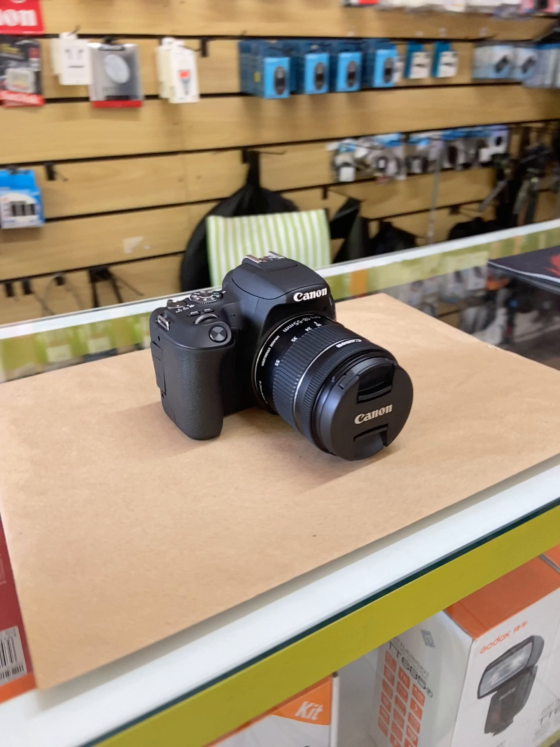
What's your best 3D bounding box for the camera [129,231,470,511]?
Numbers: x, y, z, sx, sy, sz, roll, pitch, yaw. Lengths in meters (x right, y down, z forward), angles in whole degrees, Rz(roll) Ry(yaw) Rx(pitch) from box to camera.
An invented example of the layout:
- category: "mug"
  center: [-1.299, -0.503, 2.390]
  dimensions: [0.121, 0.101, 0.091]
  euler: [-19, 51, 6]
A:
- category: "camera"
  center: [0.008, -0.017, 0.341]
  dimensions: [0.140, 0.089, 0.130]
  euler: [-19, 31, -30]
